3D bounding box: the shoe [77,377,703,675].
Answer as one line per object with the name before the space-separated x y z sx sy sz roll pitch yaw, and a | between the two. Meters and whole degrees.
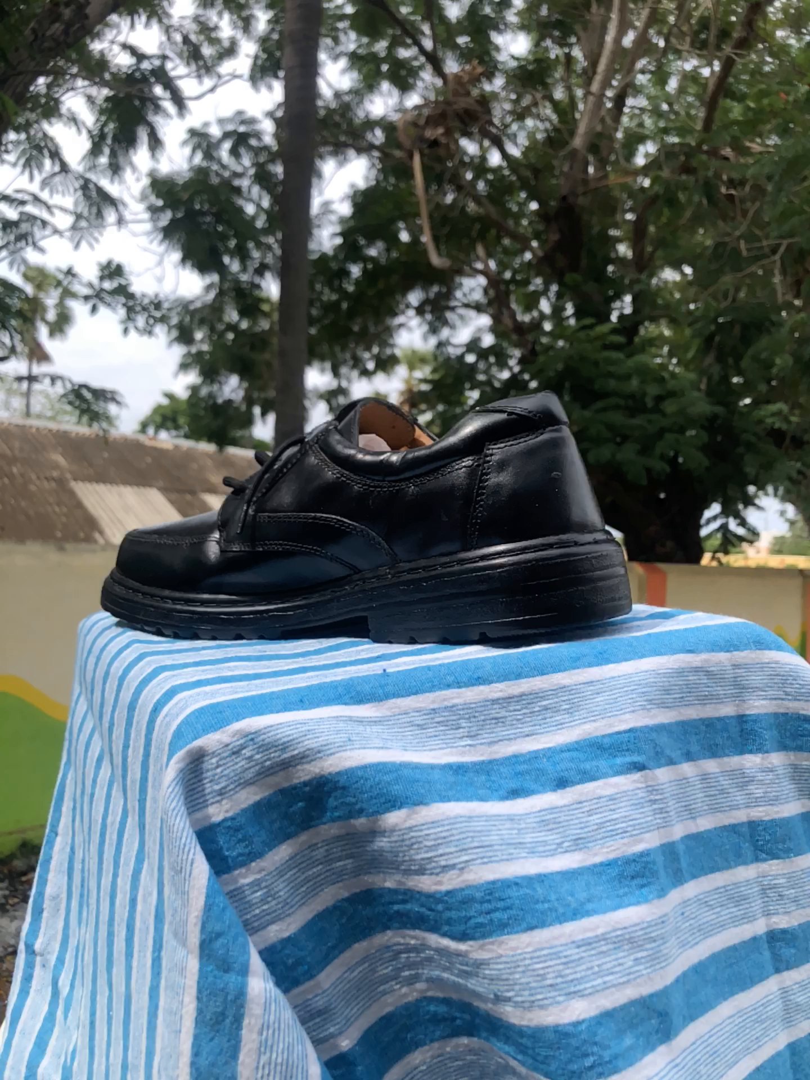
shoe | -0.020 -0.010 0.430 0.289 0.100 0.110 1 3 35
